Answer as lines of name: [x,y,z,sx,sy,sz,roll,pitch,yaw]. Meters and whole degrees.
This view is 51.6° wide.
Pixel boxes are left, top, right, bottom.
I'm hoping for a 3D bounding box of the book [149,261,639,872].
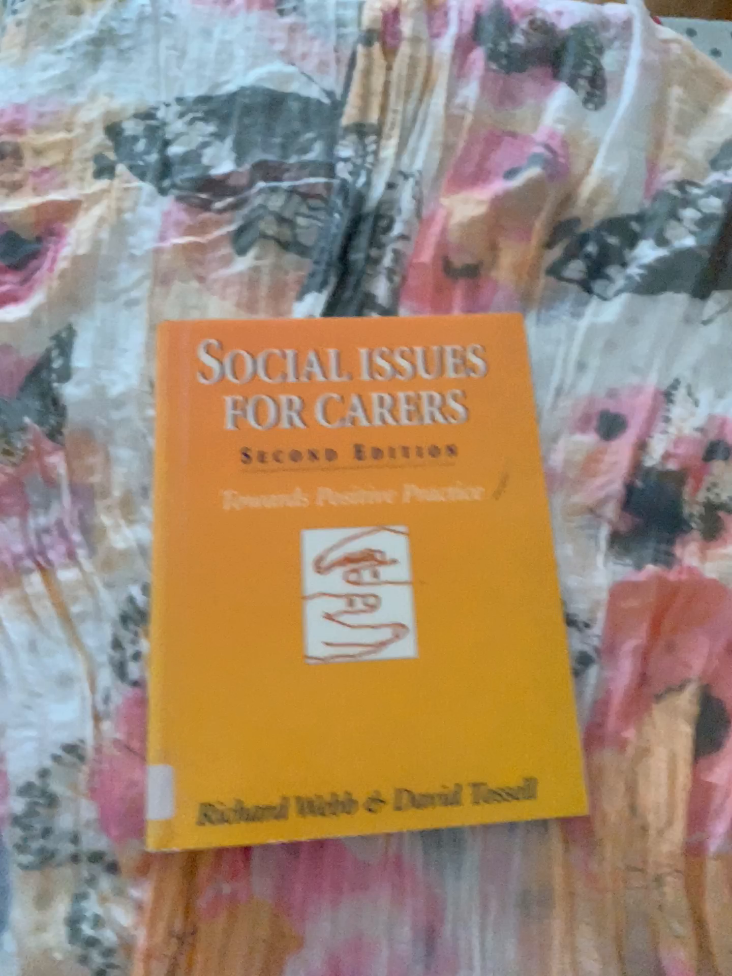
book: [0.004,0.023,0.364,0.200,0.040,0.271,-3,74,-4]
